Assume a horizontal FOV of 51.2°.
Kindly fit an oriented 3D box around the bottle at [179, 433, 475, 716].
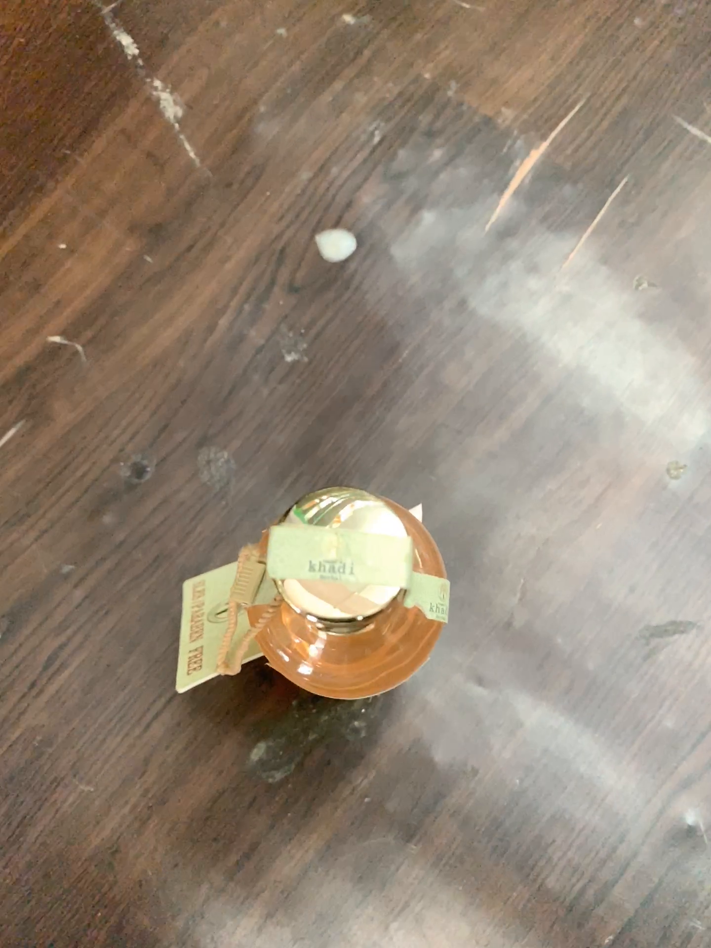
[{"bbox_3d":[-0.004,0.039,0.204,0.050,0.150,0.050,0,73,0],"label":"bottle"}]
